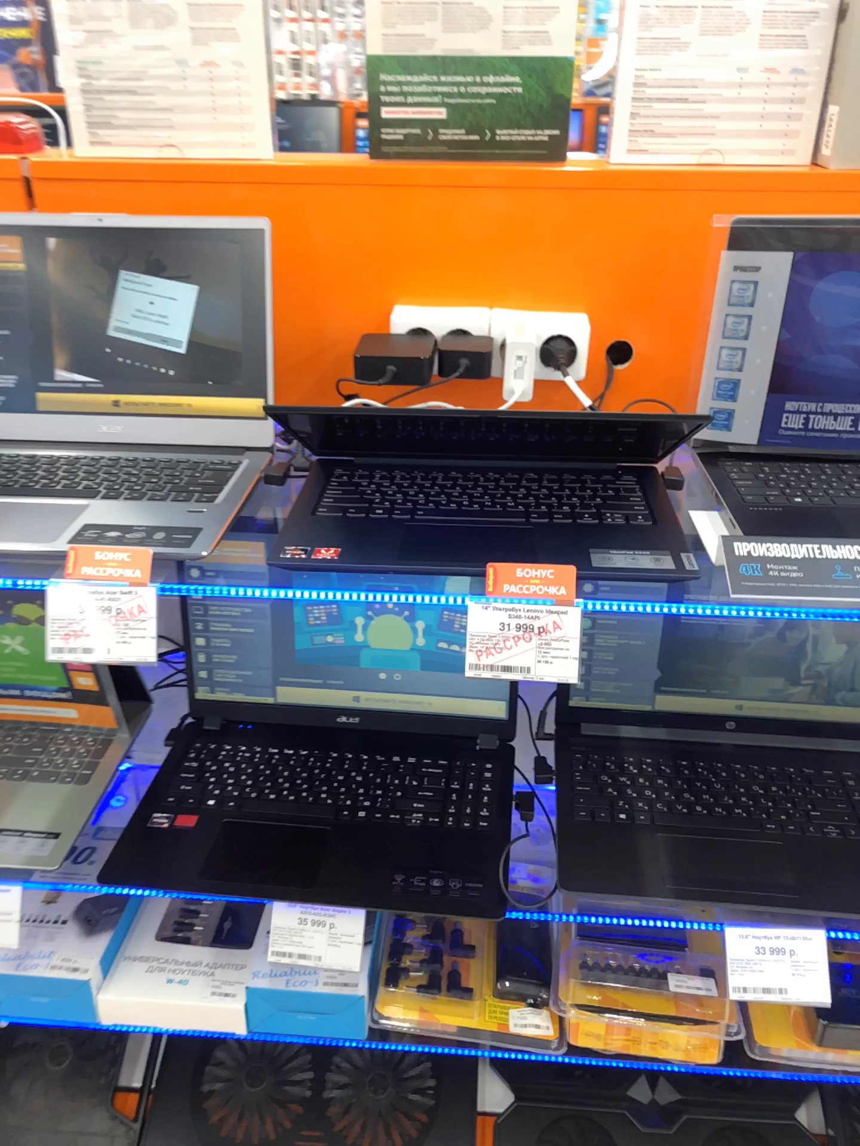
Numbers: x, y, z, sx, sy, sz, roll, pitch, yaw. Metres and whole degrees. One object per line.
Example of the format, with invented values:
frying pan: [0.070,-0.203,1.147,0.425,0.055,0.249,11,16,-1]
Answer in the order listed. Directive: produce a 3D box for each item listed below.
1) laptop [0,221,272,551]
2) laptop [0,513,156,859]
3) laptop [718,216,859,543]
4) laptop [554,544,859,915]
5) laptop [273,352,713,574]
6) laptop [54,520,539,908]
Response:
laptop: [-0.322,-0.163,0.767,0.315,0.203,0.225,2,26,4]
laptop: [-0.488,0.095,0.880,0.348,0.207,0.236,3,27,2]
laptop: [0.411,-0.167,0.759,0.306,0.213,0.229,3,25,6]
laptop: [0.298,0.125,0.835,0.352,0.215,0.226,3,26,7]
laptop: [0.047,-0.099,0.760,0.299,0.106,0.213,2,27,5]
laptop: [-0.091,0.112,0.853,0.342,0.230,0.247,3,26,7]
